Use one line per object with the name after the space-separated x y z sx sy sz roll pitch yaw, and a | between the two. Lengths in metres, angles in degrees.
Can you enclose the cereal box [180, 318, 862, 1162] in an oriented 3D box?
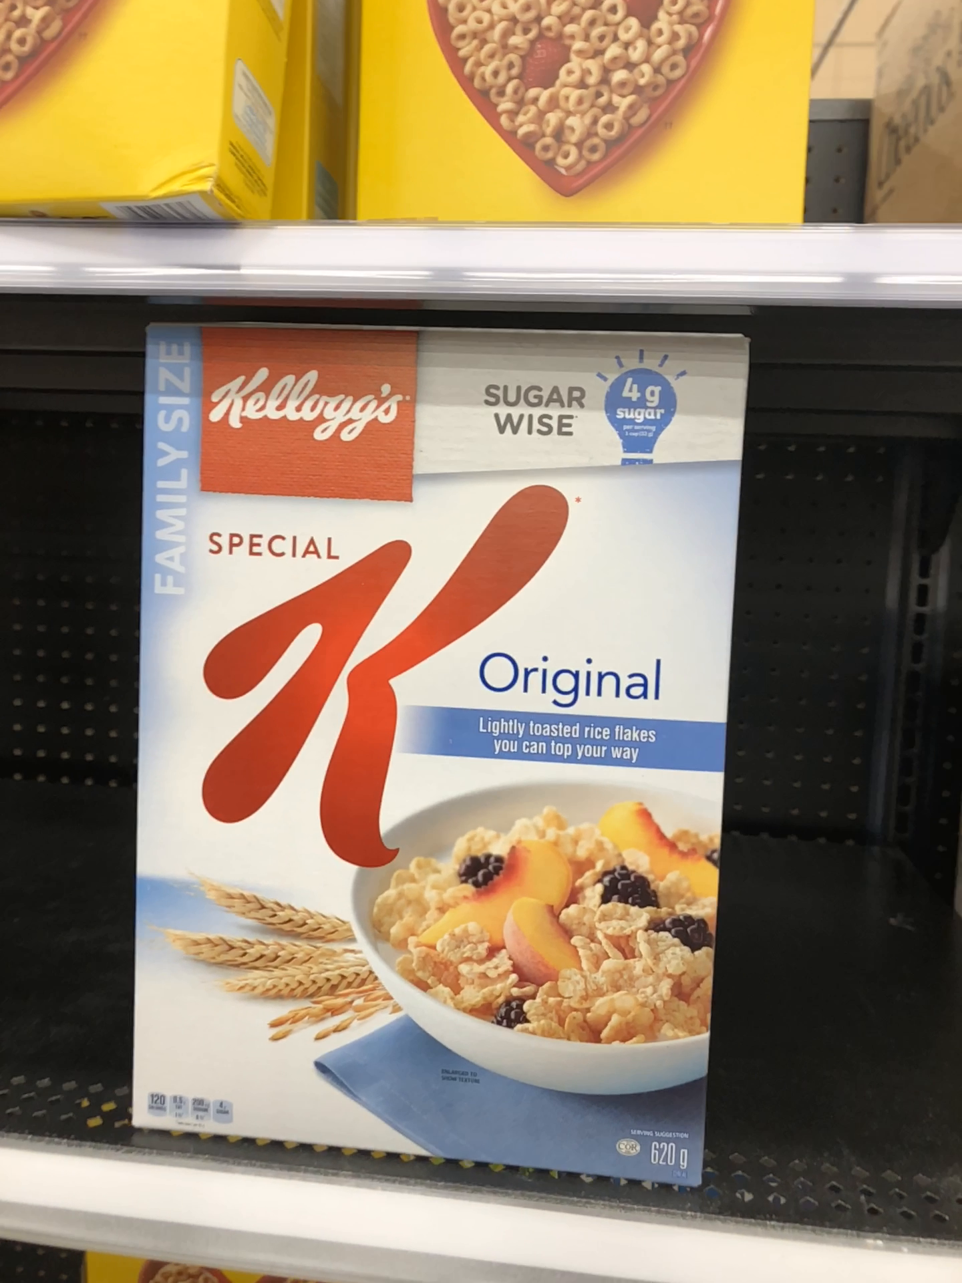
0.011 0.037 0.467 0.260 0.329 0.080 3 6 5 | cereal box
